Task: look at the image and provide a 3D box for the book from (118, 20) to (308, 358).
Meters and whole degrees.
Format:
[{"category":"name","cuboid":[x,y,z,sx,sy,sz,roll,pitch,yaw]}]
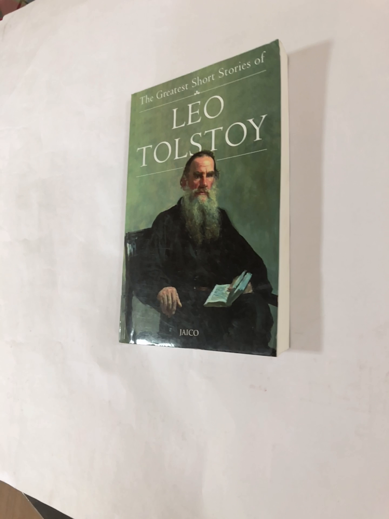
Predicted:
[{"category":"book","cuboid":[0.010,-0.047,0.335,0.151,0.020,0.230,-4,79,34]}]
